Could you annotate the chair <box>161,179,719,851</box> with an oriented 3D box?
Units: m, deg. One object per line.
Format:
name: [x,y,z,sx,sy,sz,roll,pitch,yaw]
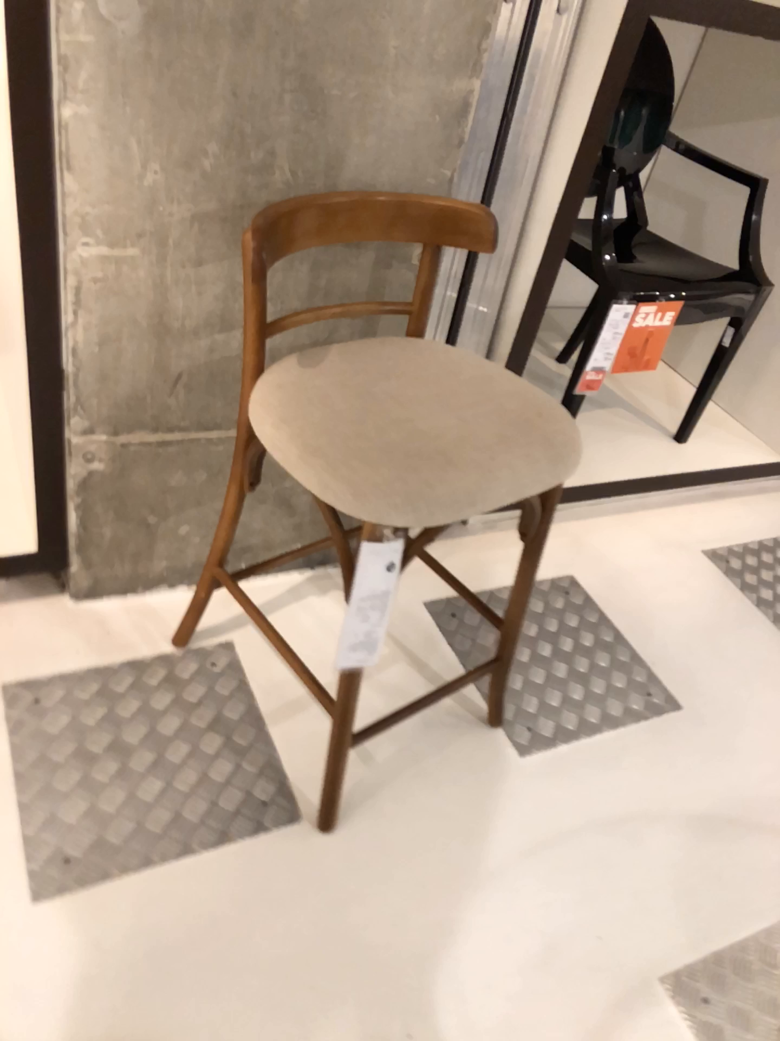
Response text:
chair: [0.004,-0.021,1.319,0.492,0.813,0.482,-19,49,-37]
